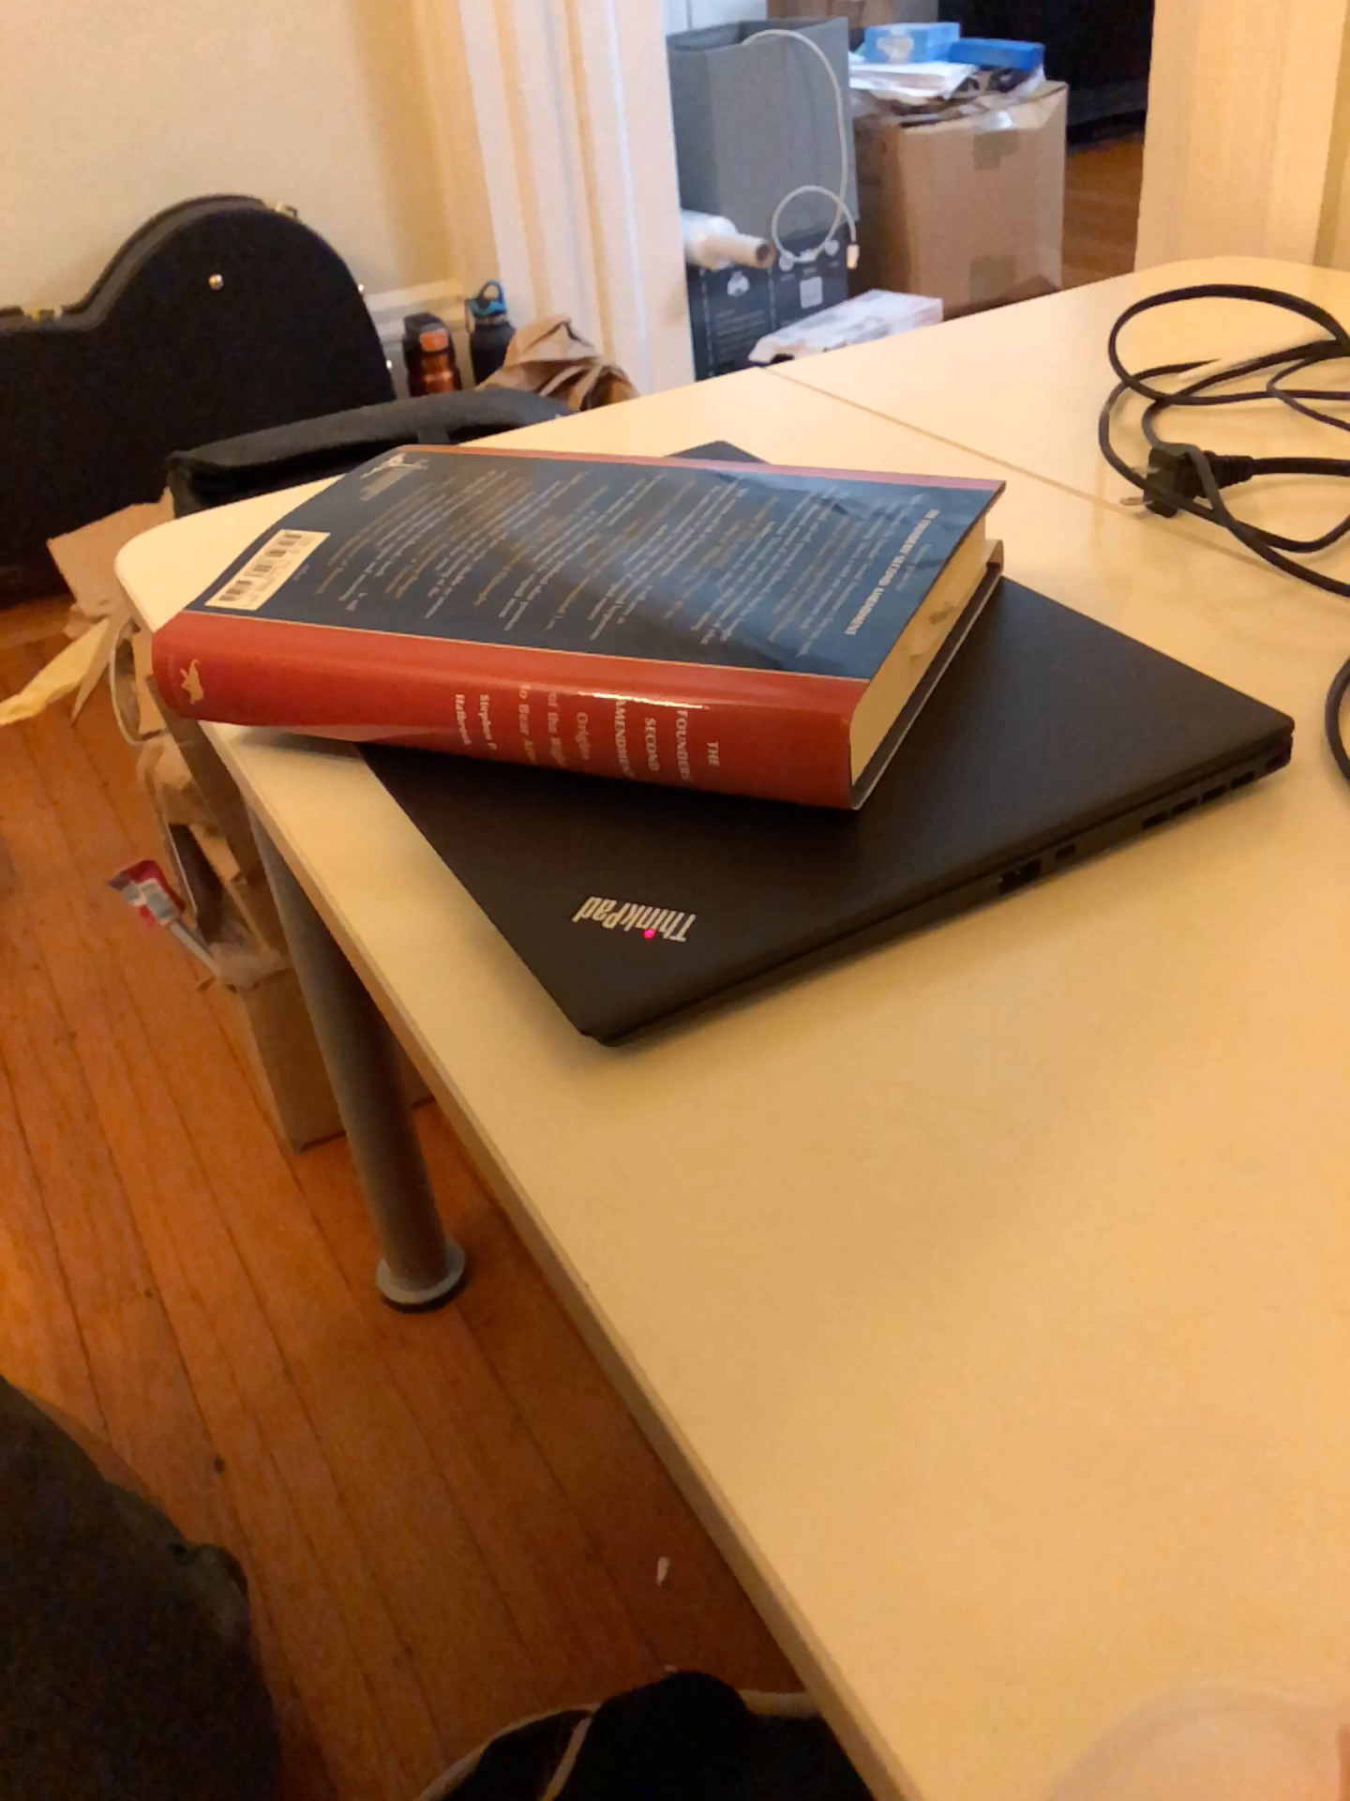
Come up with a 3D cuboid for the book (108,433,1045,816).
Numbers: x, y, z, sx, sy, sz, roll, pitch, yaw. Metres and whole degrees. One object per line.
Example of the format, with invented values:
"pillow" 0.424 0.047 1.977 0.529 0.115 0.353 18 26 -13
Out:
"book" -0.024 -0.100 0.469 0.240 0.040 0.171 9 37 25
